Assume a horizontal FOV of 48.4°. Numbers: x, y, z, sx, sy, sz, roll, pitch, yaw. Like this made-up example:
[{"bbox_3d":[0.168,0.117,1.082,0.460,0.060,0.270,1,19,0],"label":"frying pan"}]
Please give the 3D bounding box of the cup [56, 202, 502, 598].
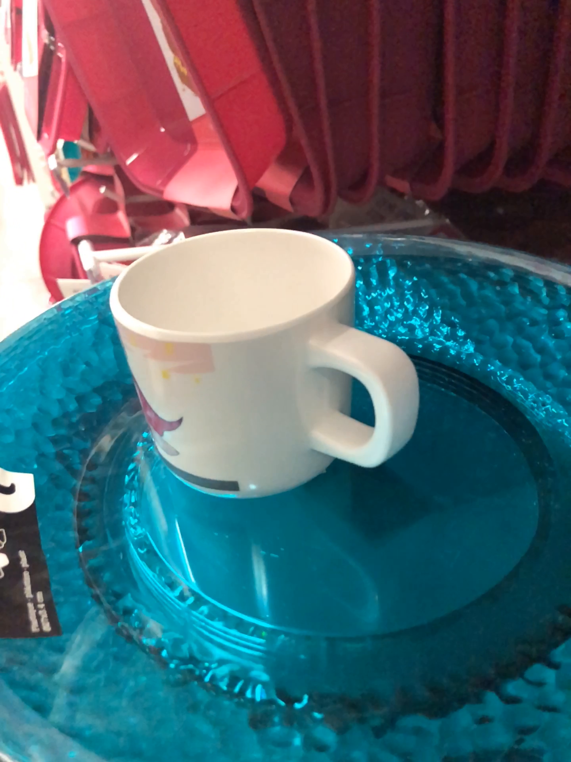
[{"bbox_3d":[-0.001,-0.004,0.198,0.102,0.064,0.076,23,43,33],"label":"cup"}]
